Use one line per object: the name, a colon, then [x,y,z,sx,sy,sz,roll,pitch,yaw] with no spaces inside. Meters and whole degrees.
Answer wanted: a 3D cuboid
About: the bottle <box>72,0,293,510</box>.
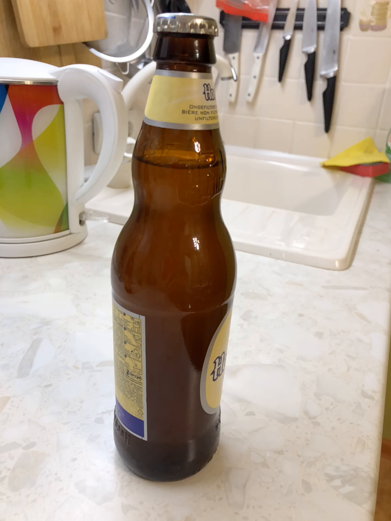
bottle: [-0.018,0.008,0.234,0.080,0.248,0.070,-3,24,-16]
